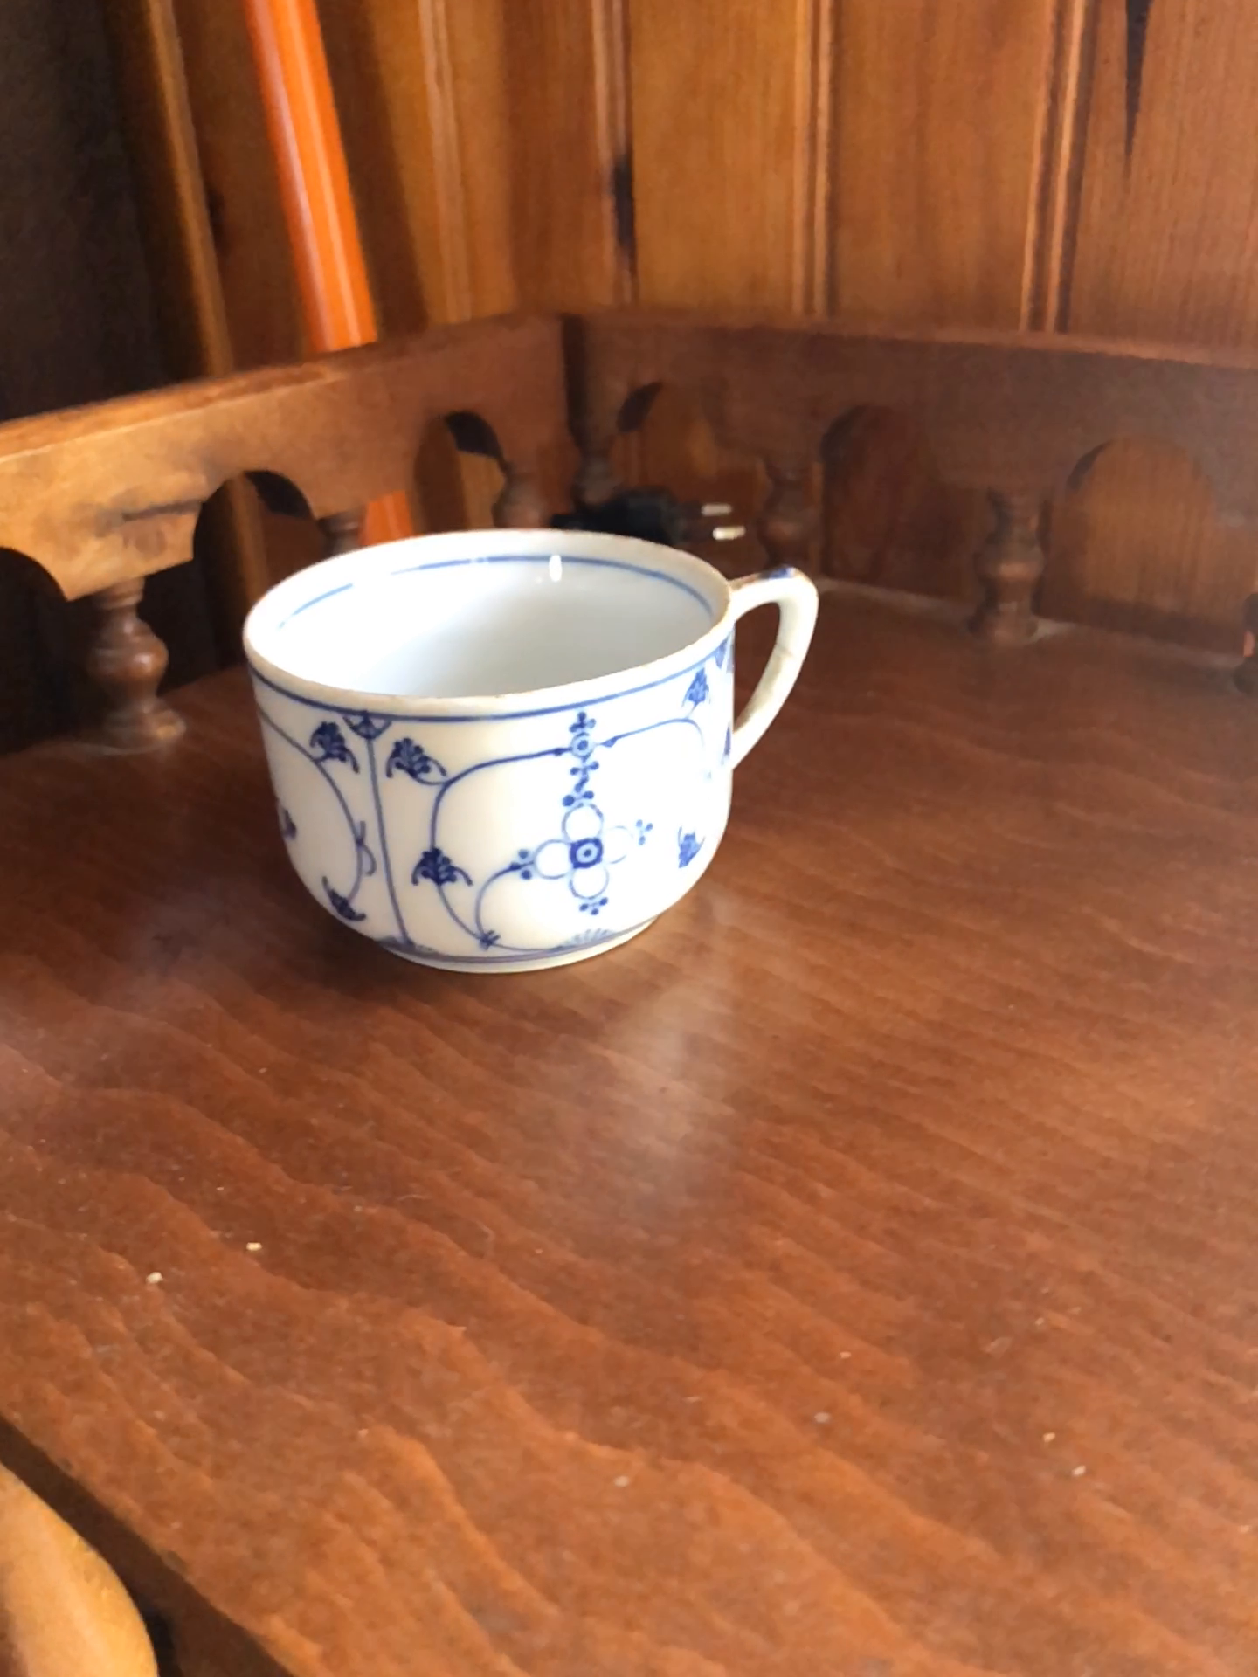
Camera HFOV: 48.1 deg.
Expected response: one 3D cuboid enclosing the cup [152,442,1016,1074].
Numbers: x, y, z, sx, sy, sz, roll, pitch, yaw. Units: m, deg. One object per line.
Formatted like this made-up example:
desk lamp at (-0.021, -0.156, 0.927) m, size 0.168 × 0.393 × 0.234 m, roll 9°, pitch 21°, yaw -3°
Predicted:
cup at (-0.010, -0.023, 0.245) m, size 0.120 × 0.060 × 0.080 m, roll -14°, pitch 31°, yaw -21°
